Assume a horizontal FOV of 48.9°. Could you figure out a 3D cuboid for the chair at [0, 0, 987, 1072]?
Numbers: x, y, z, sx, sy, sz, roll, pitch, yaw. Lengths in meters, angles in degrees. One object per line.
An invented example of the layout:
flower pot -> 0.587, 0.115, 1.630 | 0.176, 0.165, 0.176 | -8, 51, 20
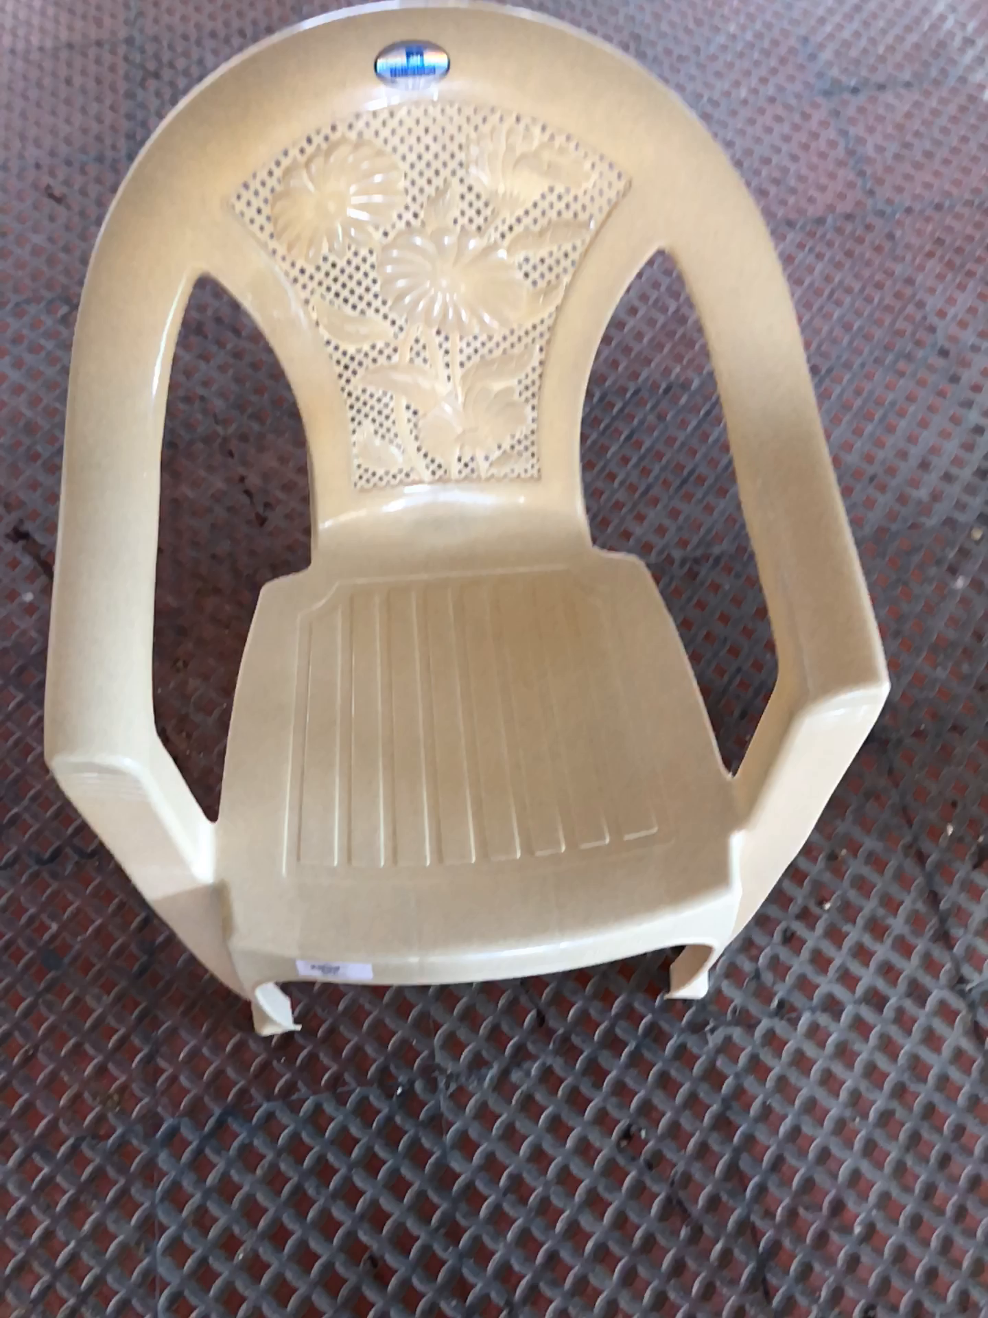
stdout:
chair -> -0.043, -0.031, 0.972 | 0.530, 0.807, 0.612 | -5, 63, -4
